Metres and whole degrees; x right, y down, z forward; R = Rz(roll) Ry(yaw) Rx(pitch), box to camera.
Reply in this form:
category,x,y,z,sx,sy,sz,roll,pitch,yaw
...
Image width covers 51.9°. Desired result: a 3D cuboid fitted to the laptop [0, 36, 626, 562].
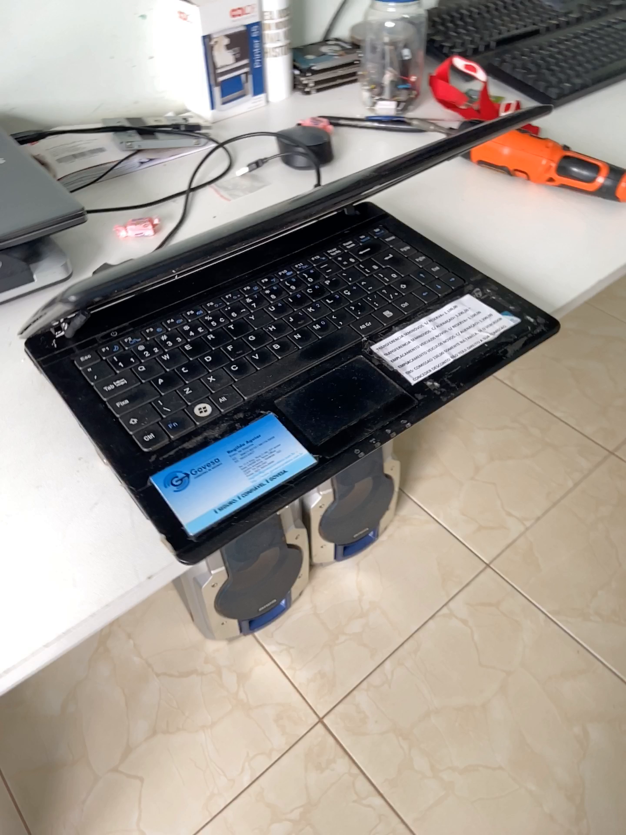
category,x,y,z,sx,sy,sz,roll,pitch,yaw
laptop,-0.009,-0.112,0.434,0.336,0.144,0.228,-30,54,-24
